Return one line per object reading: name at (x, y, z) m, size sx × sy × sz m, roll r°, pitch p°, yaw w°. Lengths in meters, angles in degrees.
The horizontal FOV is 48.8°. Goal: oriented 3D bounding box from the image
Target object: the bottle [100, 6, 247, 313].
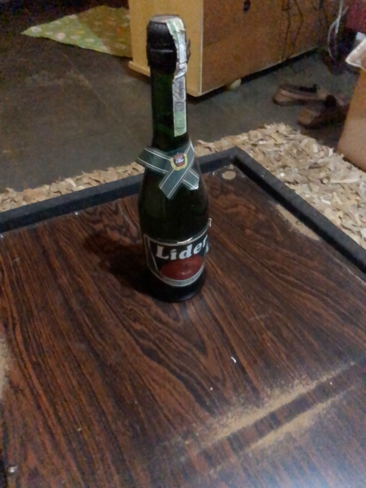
bottle at (-0.008, -0.065, 0.410) m, size 0.090 × 0.288 × 0.080 m, roll -17°, pitch 45°, yaw -17°
